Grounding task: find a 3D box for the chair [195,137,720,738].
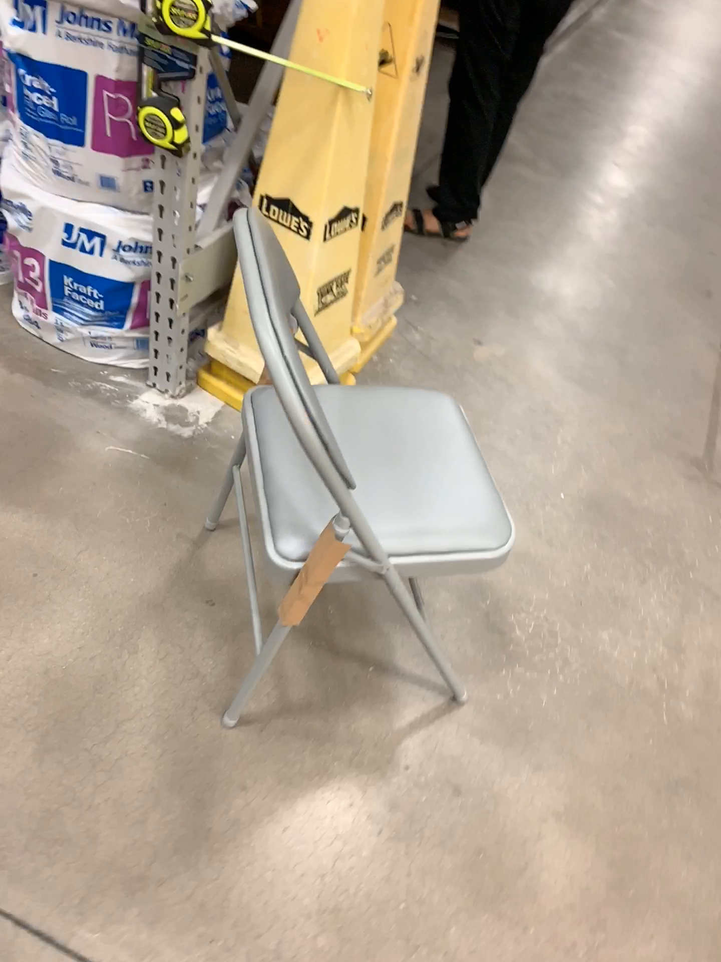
[{"bbox_3d":[0.030,-0.028,1.119,0.485,0.709,0.489,0,46,-17],"label":"chair"}]
